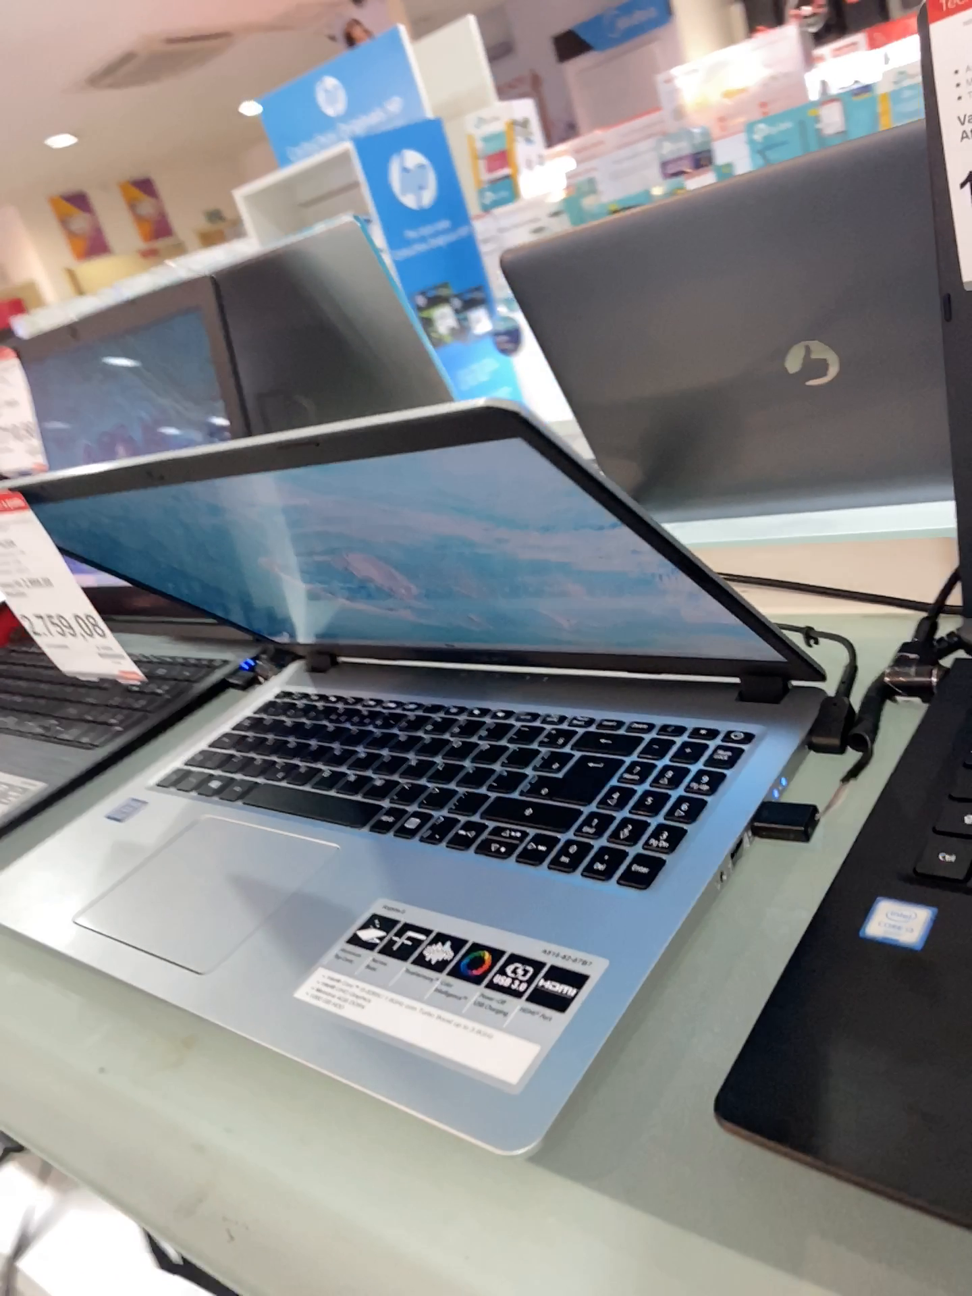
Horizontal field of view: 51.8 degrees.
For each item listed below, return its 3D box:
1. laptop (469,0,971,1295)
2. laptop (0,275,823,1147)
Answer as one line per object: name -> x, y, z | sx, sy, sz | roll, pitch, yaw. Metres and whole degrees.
laptop -> 0.243, -0.054, 0.189 | 0.355, 0.239, 0.288 | 0, 29, 42
laptop -> -0.084, -0.003, 0.433 | 0.353, 0.175, 0.237 | 1, 30, 40
